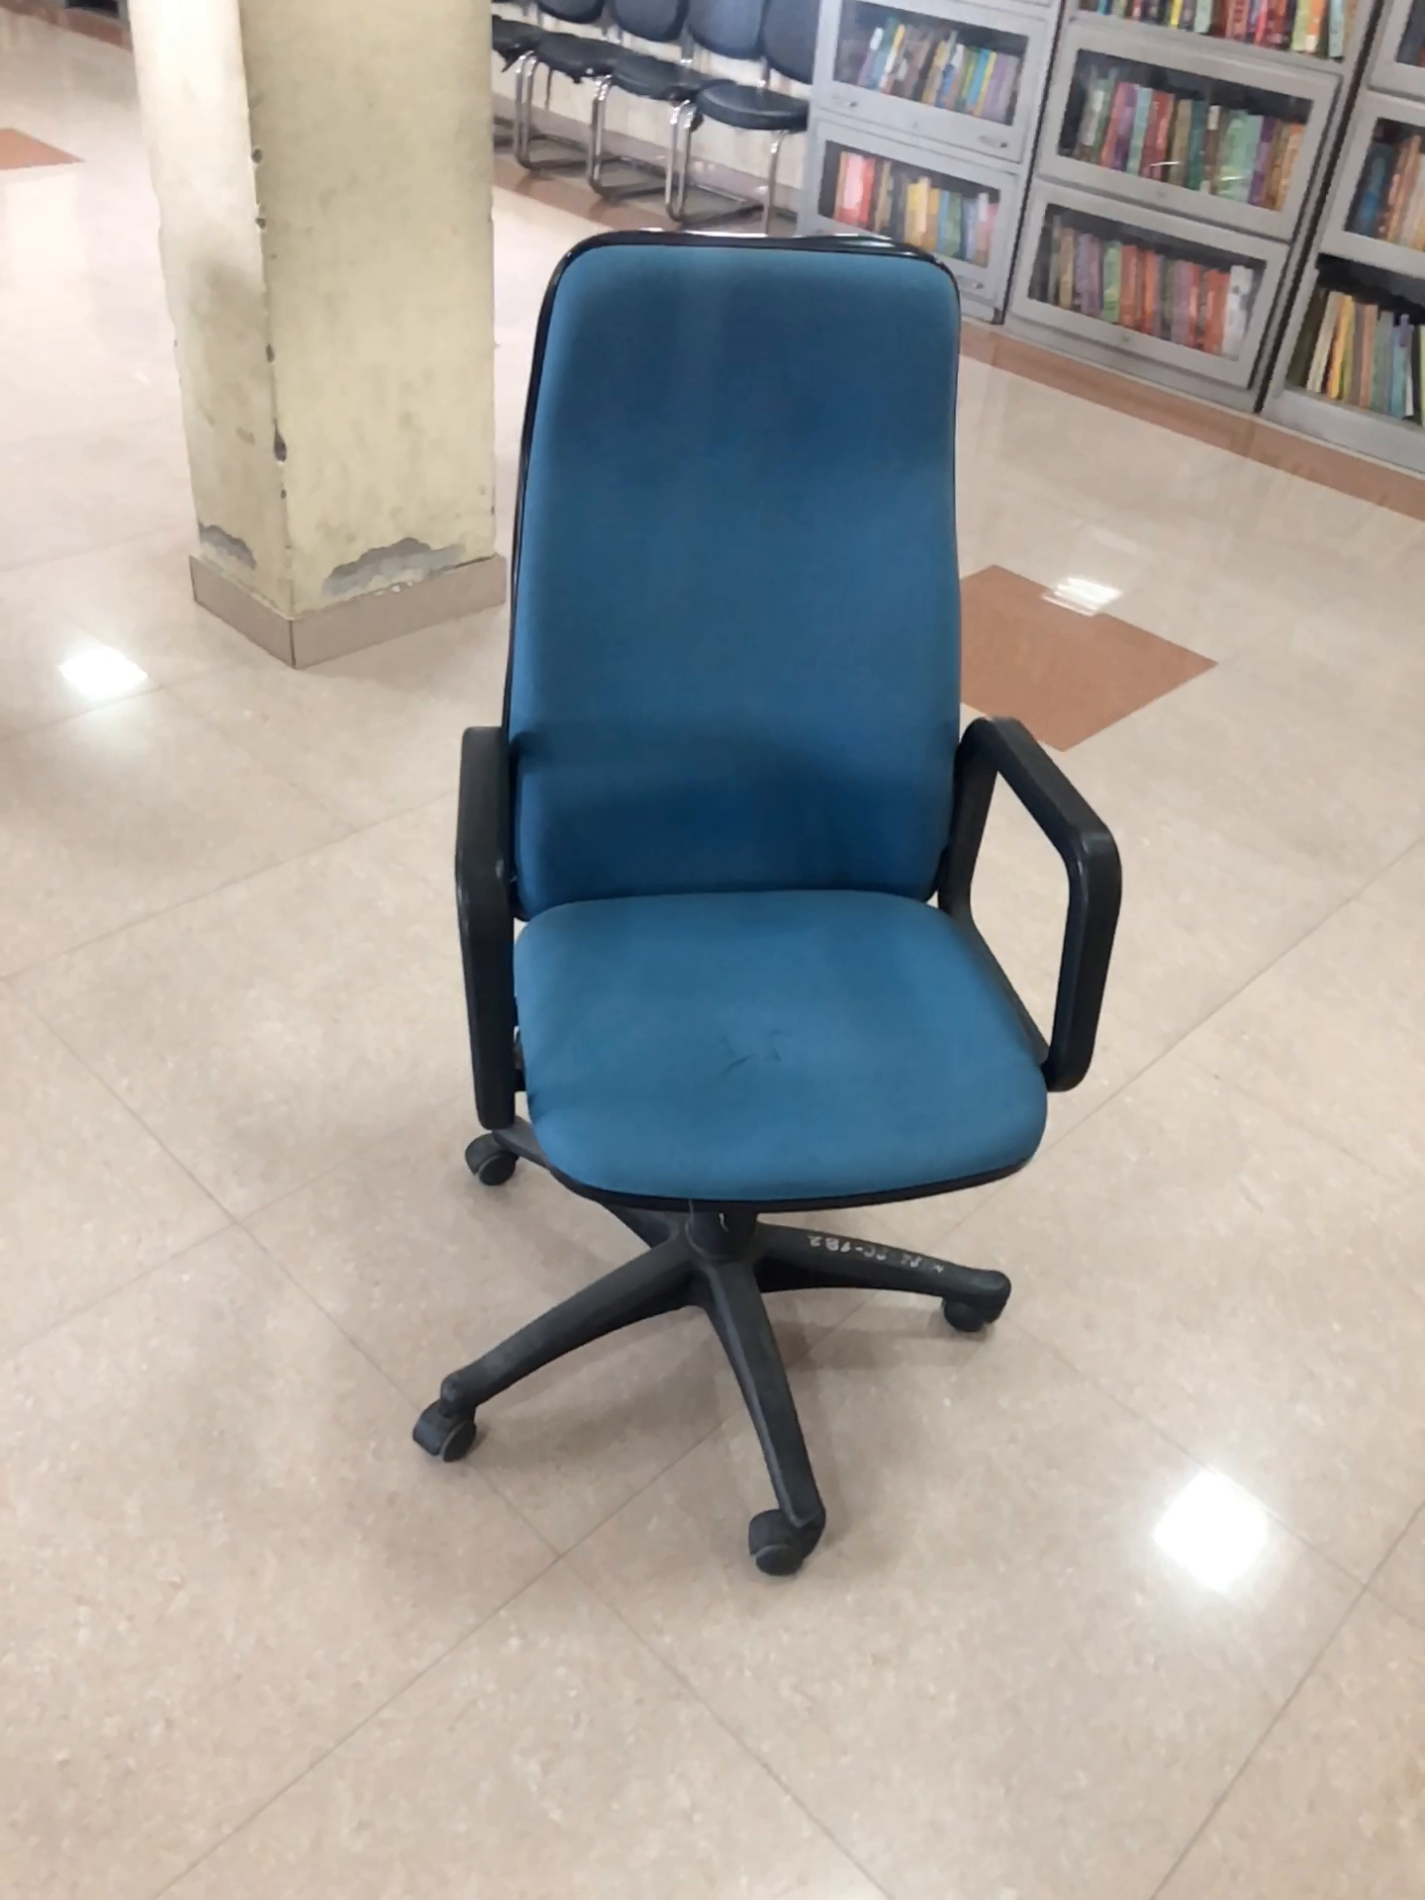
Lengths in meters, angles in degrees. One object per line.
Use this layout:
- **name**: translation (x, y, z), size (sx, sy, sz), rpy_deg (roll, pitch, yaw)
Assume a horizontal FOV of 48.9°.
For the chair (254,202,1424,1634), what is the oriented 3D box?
- **chair**: translation (0.016, -0.027, 1.510), size (0.740, 1.076, 0.763), rpy_deg (-2, 38, -10)
